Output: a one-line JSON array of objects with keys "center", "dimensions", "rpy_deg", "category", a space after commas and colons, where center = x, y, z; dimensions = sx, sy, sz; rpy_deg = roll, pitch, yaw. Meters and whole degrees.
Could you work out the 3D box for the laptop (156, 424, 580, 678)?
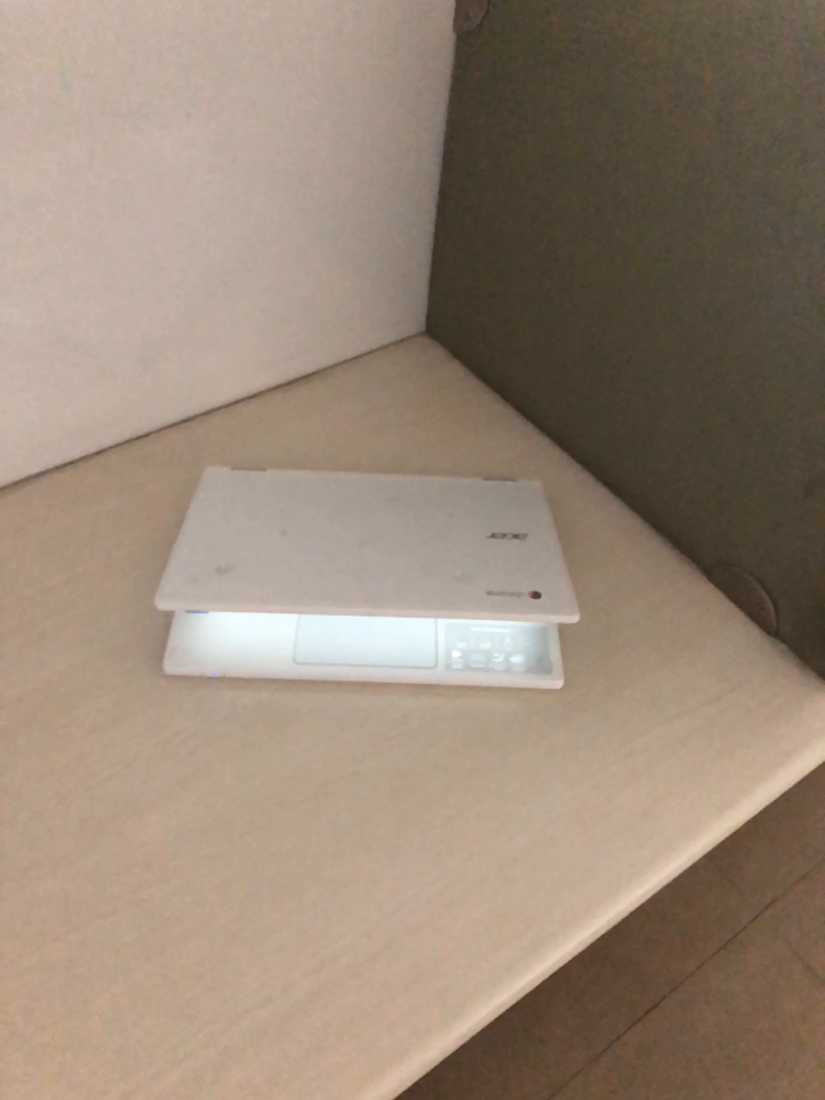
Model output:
[{"center": [-0.029, -0.005, 0.690], "dimensions": [0.282, 0.055, 0.193], "rpy_deg": [2, 48, -2], "category": "laptop"}]
